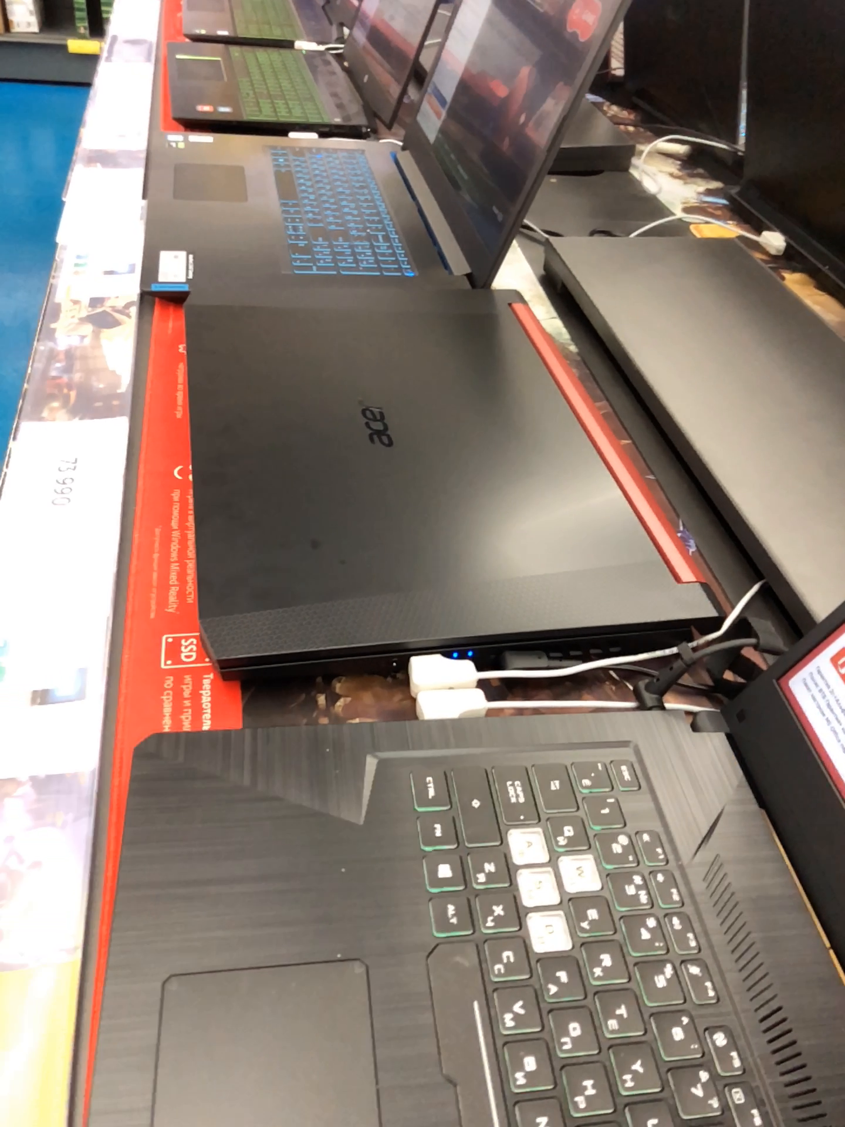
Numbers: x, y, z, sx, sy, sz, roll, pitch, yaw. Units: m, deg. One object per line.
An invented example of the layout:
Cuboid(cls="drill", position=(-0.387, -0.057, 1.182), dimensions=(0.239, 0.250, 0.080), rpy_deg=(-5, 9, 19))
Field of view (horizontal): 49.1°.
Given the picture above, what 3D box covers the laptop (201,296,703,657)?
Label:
Cuboid(cls="laptop", position=(-0.009, -0.088, 0.604), dimensions=(0.255, 0.002, 0.372), rpy_deg=(-3, 42, -12))
